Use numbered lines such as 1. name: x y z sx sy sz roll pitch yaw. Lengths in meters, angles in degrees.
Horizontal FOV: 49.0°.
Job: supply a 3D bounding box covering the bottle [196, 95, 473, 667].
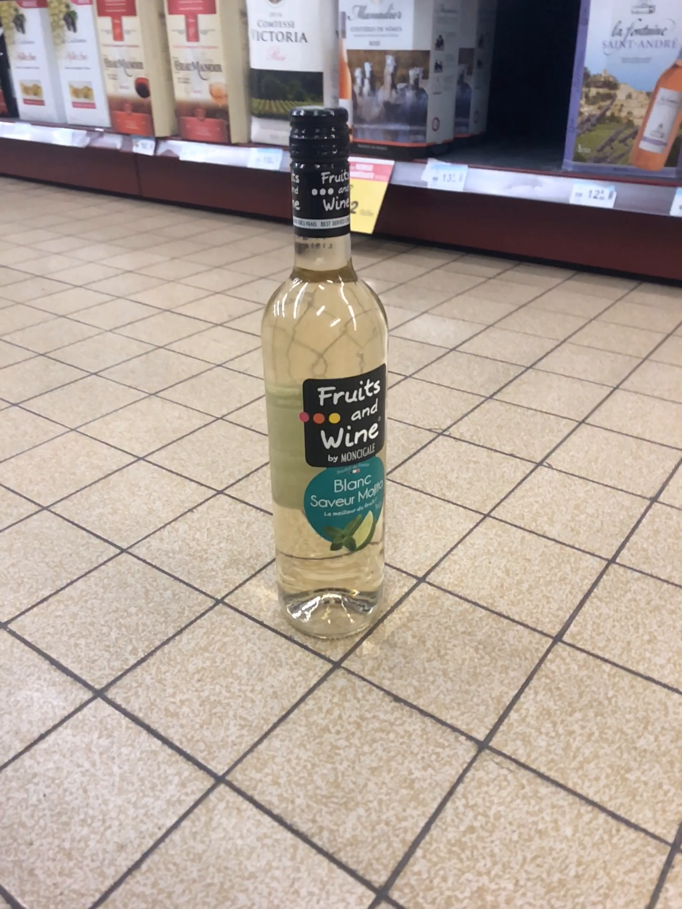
1. bottle: -0.003 -0.037 0.430 0.100 0.298 0.090 -18 33 -29
